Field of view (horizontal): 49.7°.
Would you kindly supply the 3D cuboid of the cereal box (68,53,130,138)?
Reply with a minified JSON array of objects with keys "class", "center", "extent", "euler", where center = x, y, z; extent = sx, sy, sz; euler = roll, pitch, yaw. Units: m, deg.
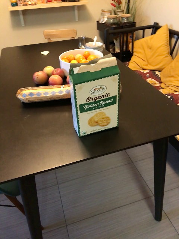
[{"class":"cereal box","center":[0.032,-0.076,0.660],"extent":[0.170,0.248,0.080],"euler":[-14,38,-14]}]
